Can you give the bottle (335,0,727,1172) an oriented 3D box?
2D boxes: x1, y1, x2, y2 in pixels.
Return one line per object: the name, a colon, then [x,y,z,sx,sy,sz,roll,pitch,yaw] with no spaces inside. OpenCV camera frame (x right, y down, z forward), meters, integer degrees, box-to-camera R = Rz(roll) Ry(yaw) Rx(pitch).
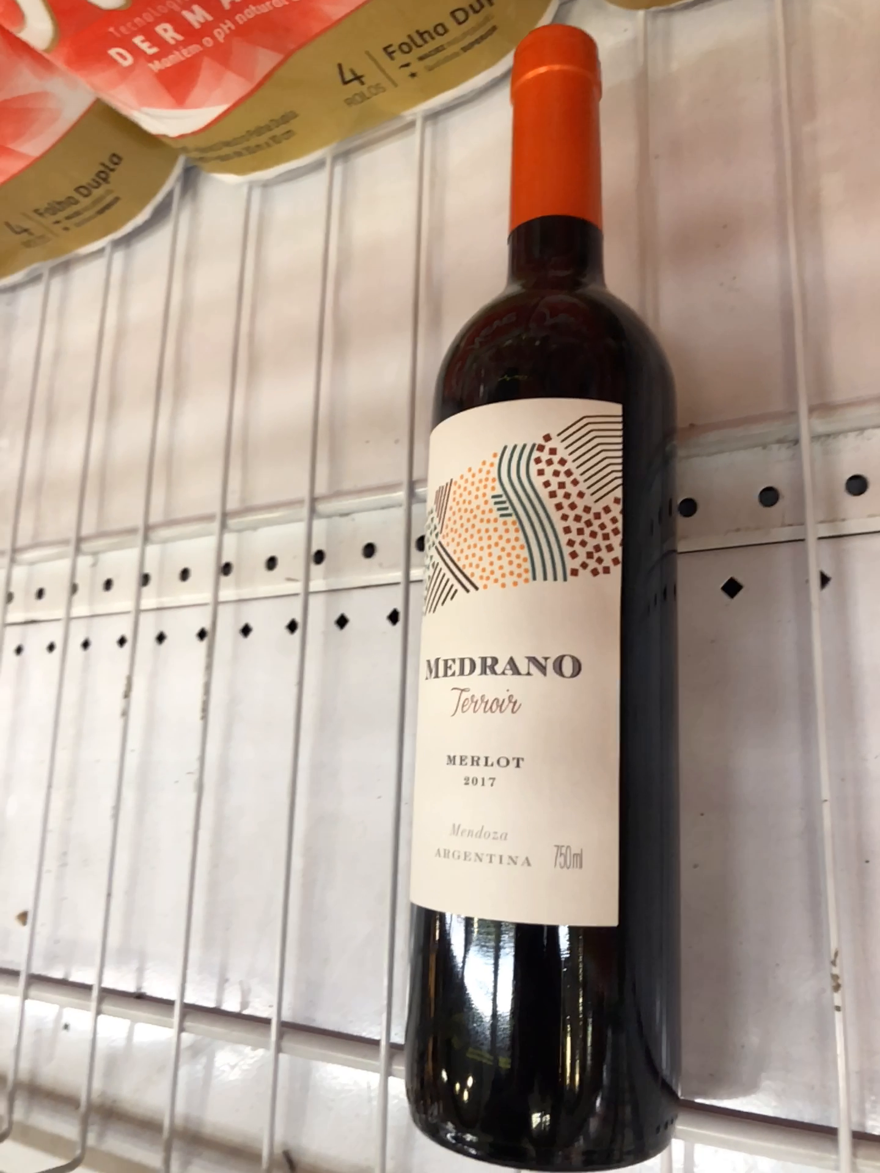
bottle: [0.034,-0.019,0.295,0.080,0.070,0.330,-5,75,32]
